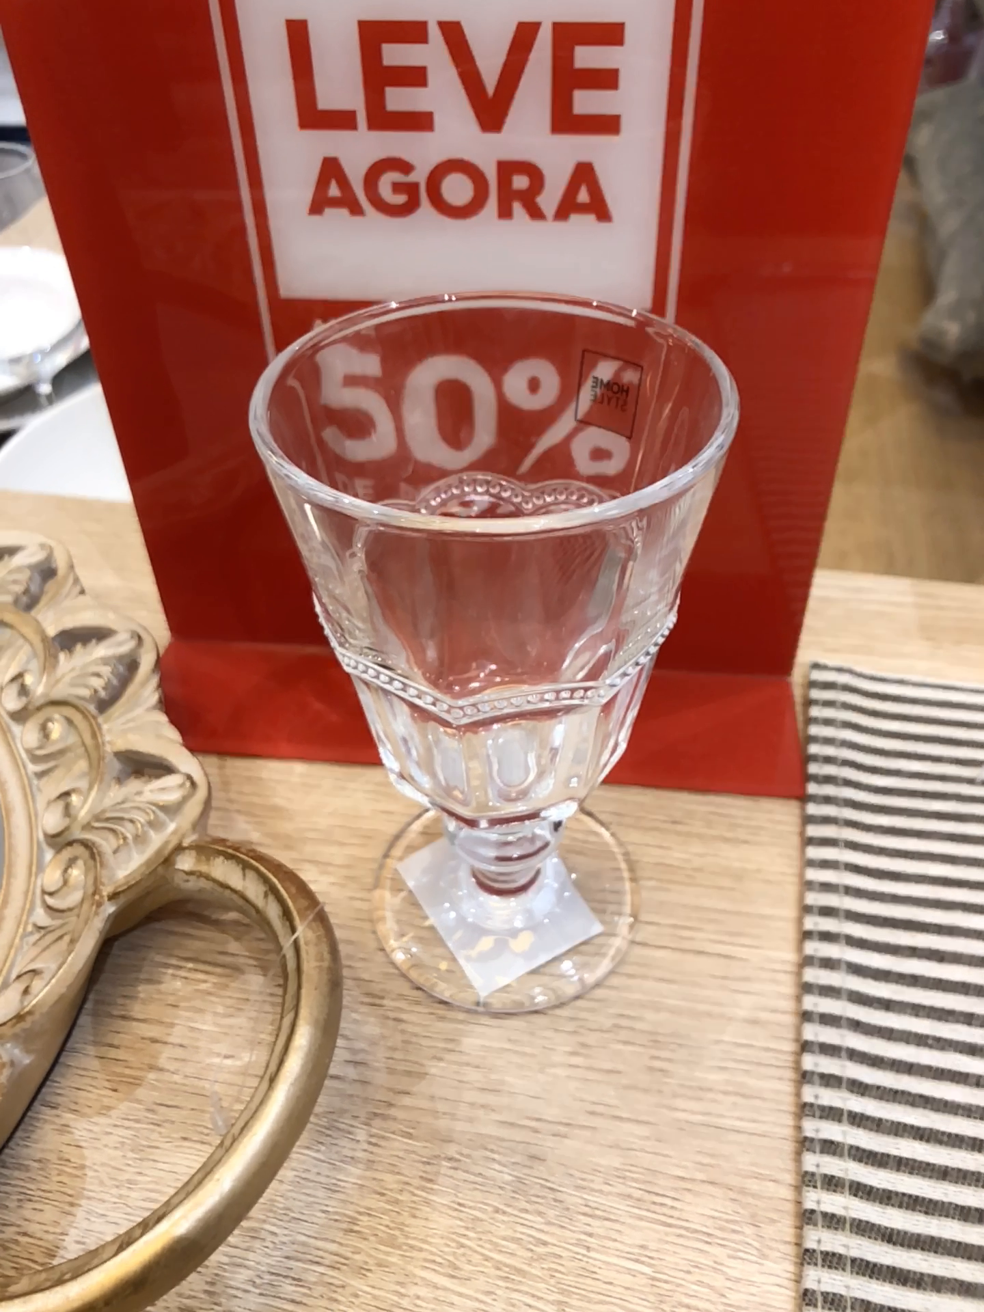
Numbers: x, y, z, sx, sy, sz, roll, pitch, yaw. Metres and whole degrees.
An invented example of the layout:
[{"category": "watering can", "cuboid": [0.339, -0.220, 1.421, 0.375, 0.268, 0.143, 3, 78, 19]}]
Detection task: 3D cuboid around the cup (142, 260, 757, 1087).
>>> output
[{"category": "cup", "cuboid": [0.001, 0.007, 0.225, 0.080, 0.139, 0.081, -1, 41, 1]}]
